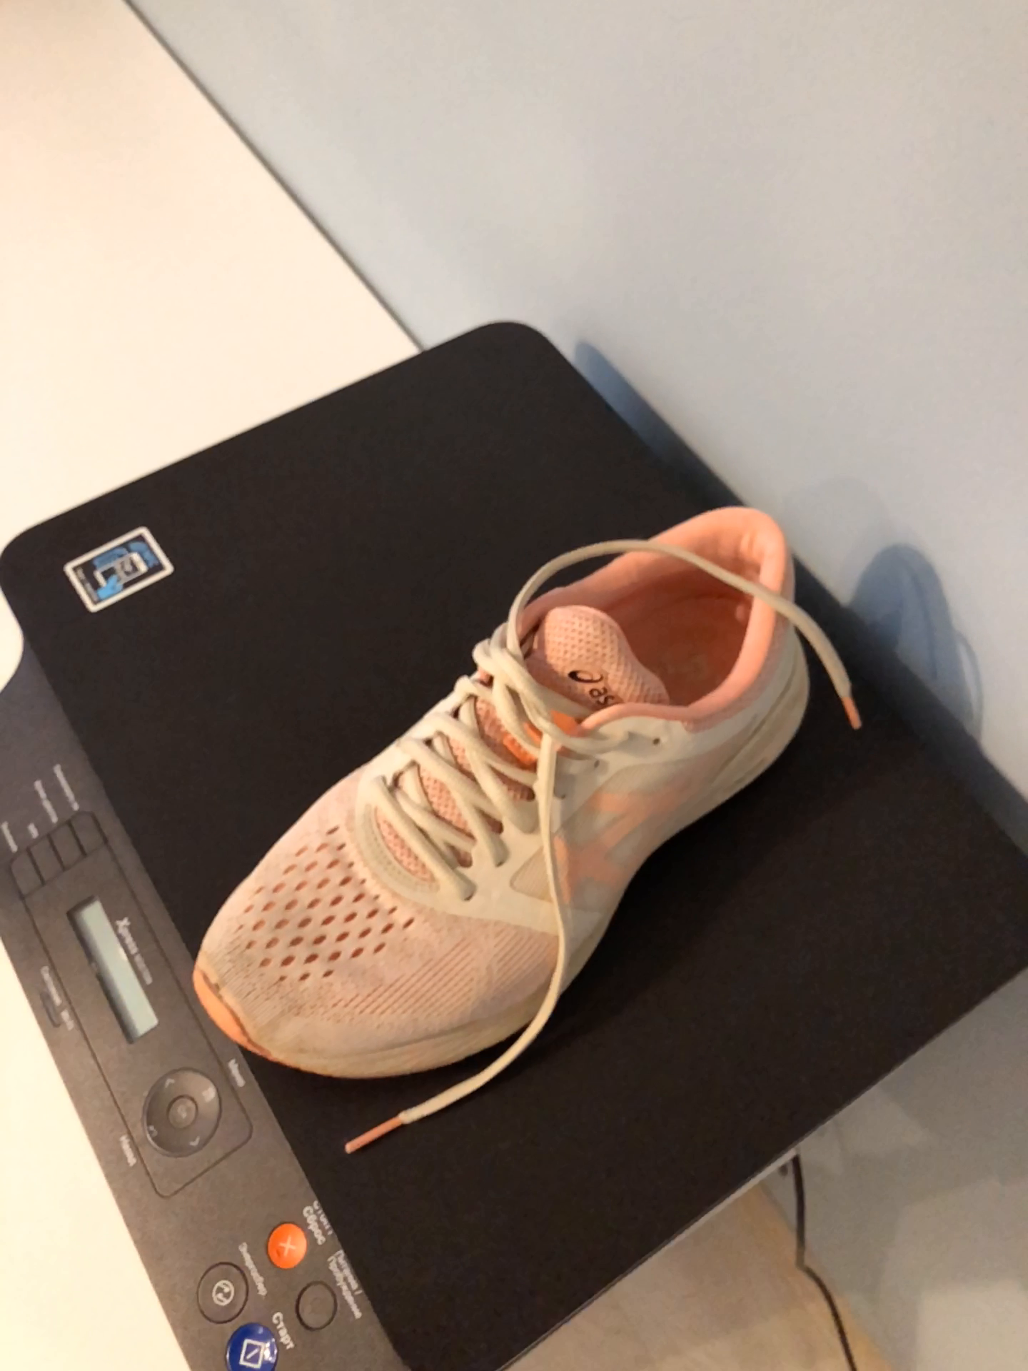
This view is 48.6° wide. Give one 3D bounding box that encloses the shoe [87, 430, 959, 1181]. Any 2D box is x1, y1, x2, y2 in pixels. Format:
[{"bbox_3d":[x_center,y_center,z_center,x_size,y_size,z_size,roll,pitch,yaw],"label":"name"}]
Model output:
[{"bbox_3d":[0.008,0.034,0.395,0.254,0.090,0.116,-32,66,-17],"label":"shoe"}]
